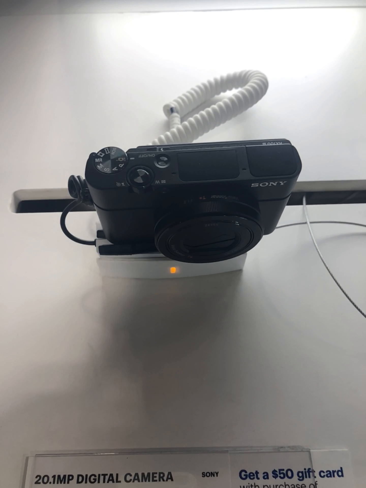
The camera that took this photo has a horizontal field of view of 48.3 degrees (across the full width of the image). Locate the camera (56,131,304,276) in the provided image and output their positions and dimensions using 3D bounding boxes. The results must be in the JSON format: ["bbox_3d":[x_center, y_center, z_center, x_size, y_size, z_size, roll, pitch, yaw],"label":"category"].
[{"bbox_3d":[-0.002,-0.018,0.200,0.102,0.051,0.041,-5,60,-1],"label":"camera"}]
